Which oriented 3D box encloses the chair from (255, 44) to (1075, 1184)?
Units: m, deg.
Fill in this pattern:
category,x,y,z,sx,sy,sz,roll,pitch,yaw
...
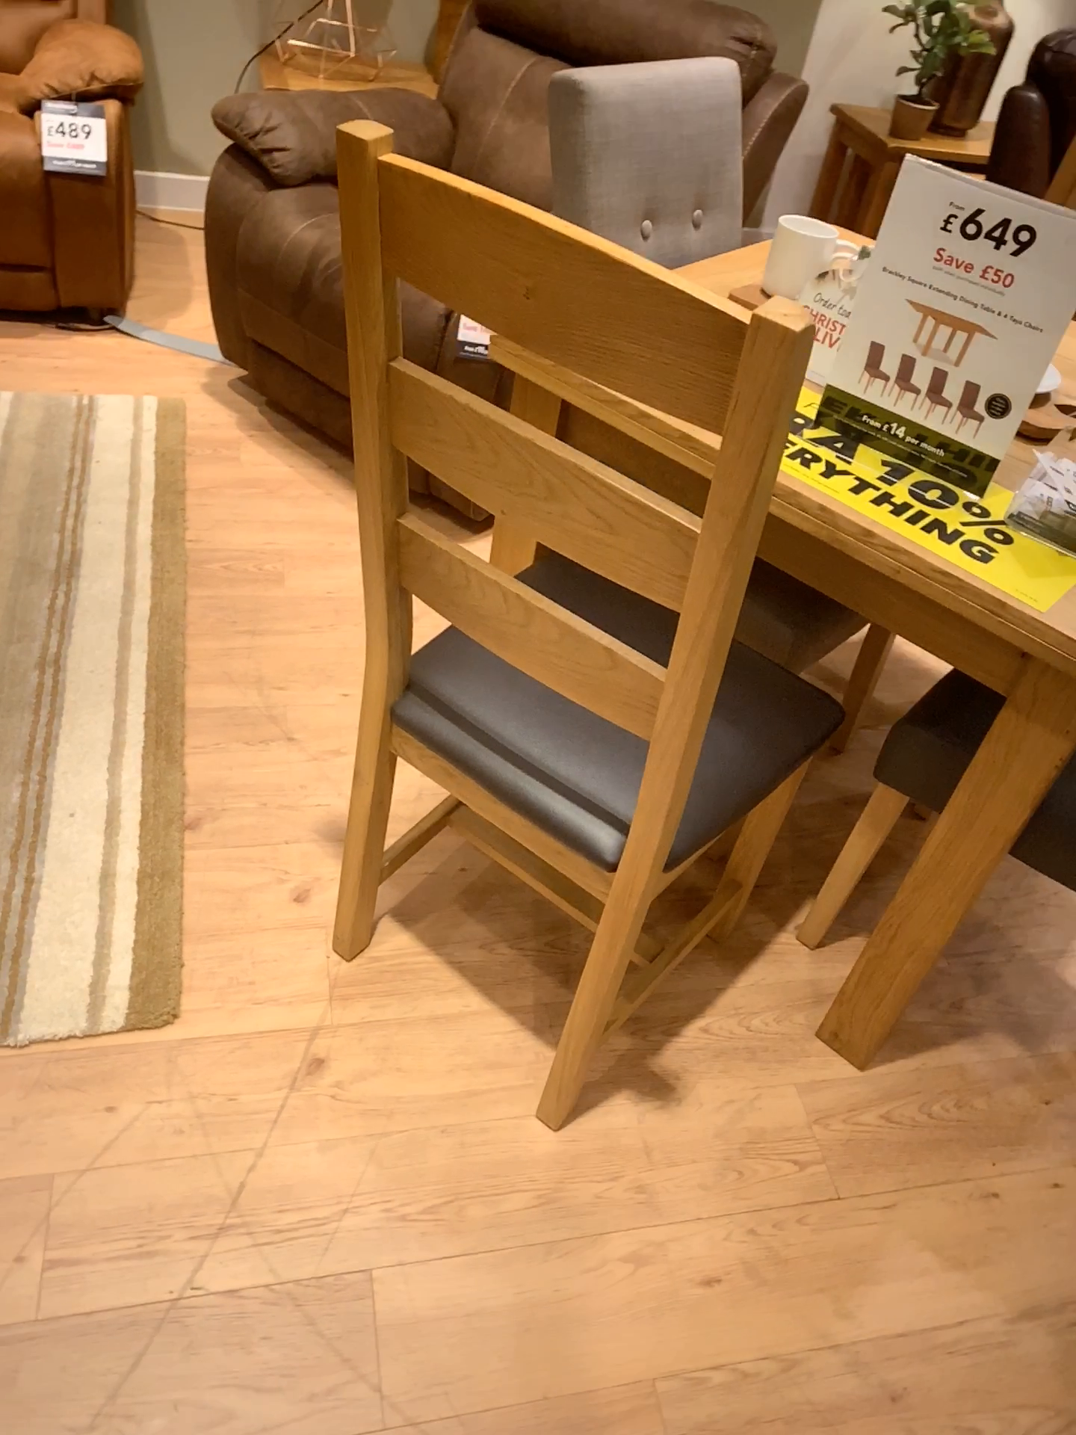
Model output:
category,x,y,z,sx,sy,sz,roll,pitch,yaw
chair,0.105,-0.100,1.205,0.556,0.958,0.580,33,45,20
